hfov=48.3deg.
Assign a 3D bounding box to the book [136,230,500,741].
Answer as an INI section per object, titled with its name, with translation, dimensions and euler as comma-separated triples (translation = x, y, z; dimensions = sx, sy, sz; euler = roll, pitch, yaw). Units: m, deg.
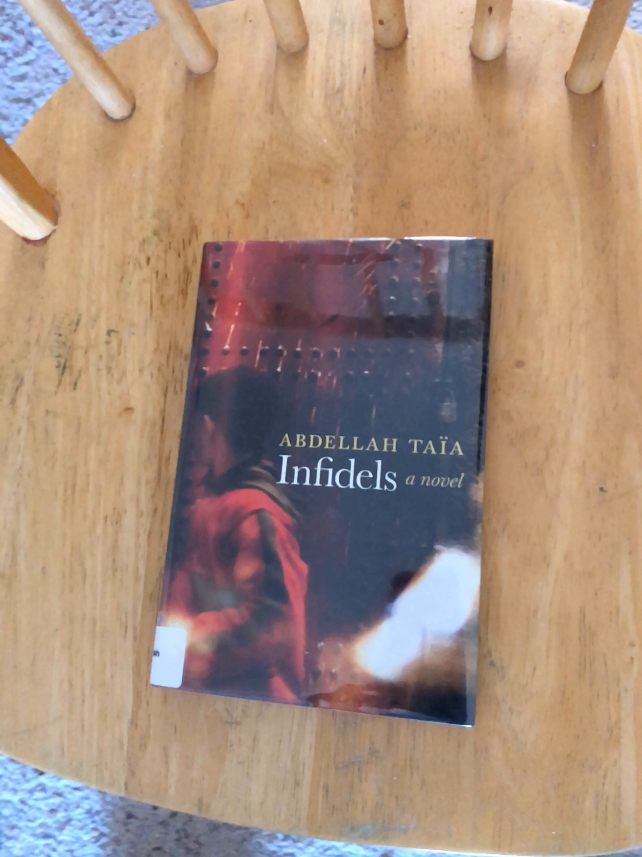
[book]
translation = 0.002, 0.014, 0.326
dimensions = 0.143, 0.020, 0.216
euler = 3, 78, 13
